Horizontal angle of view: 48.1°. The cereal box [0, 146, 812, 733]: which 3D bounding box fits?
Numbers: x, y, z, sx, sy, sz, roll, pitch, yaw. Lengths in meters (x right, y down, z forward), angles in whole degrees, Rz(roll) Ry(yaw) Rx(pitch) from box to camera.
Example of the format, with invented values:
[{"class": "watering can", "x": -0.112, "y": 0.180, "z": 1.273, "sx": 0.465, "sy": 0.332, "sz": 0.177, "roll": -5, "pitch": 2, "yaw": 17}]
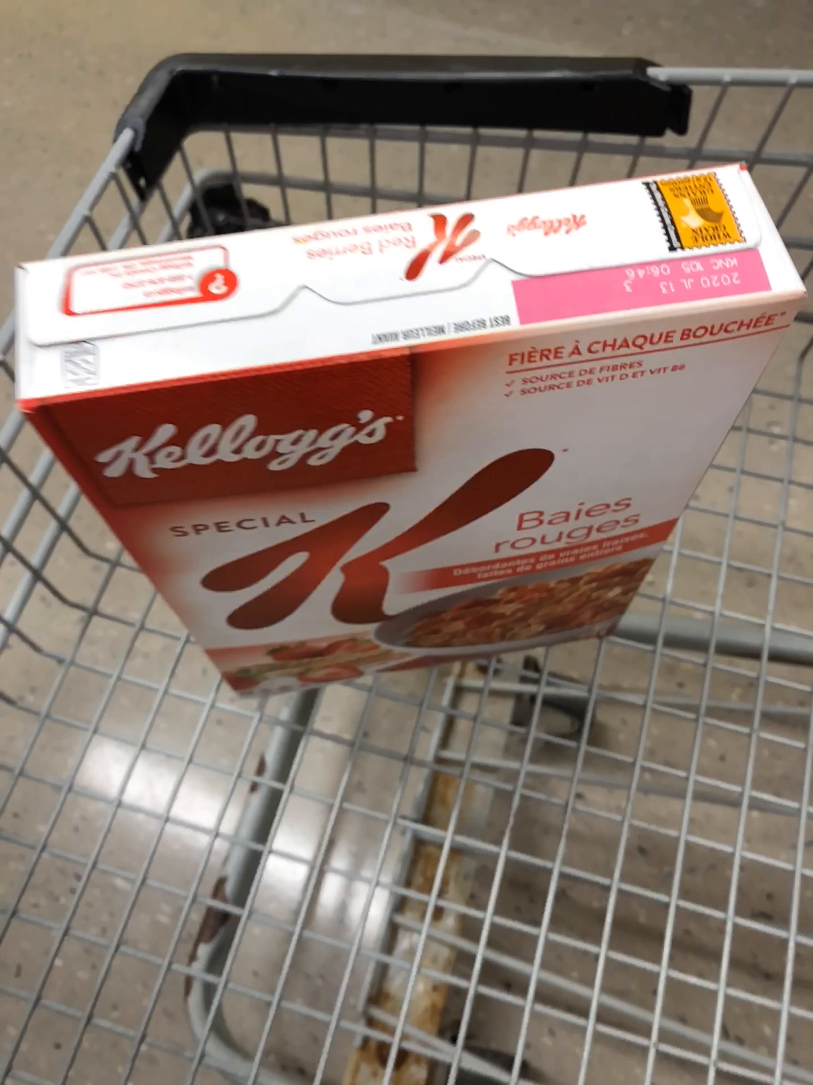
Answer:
[{"class": "cereal box", "x": 0.002, "y": -0.005, "z": 0.346, "sx": 0.210, "sy": 0.269, "sz": 0.050, "roll": -9, "pitch": 63, "yaw": -2}]
